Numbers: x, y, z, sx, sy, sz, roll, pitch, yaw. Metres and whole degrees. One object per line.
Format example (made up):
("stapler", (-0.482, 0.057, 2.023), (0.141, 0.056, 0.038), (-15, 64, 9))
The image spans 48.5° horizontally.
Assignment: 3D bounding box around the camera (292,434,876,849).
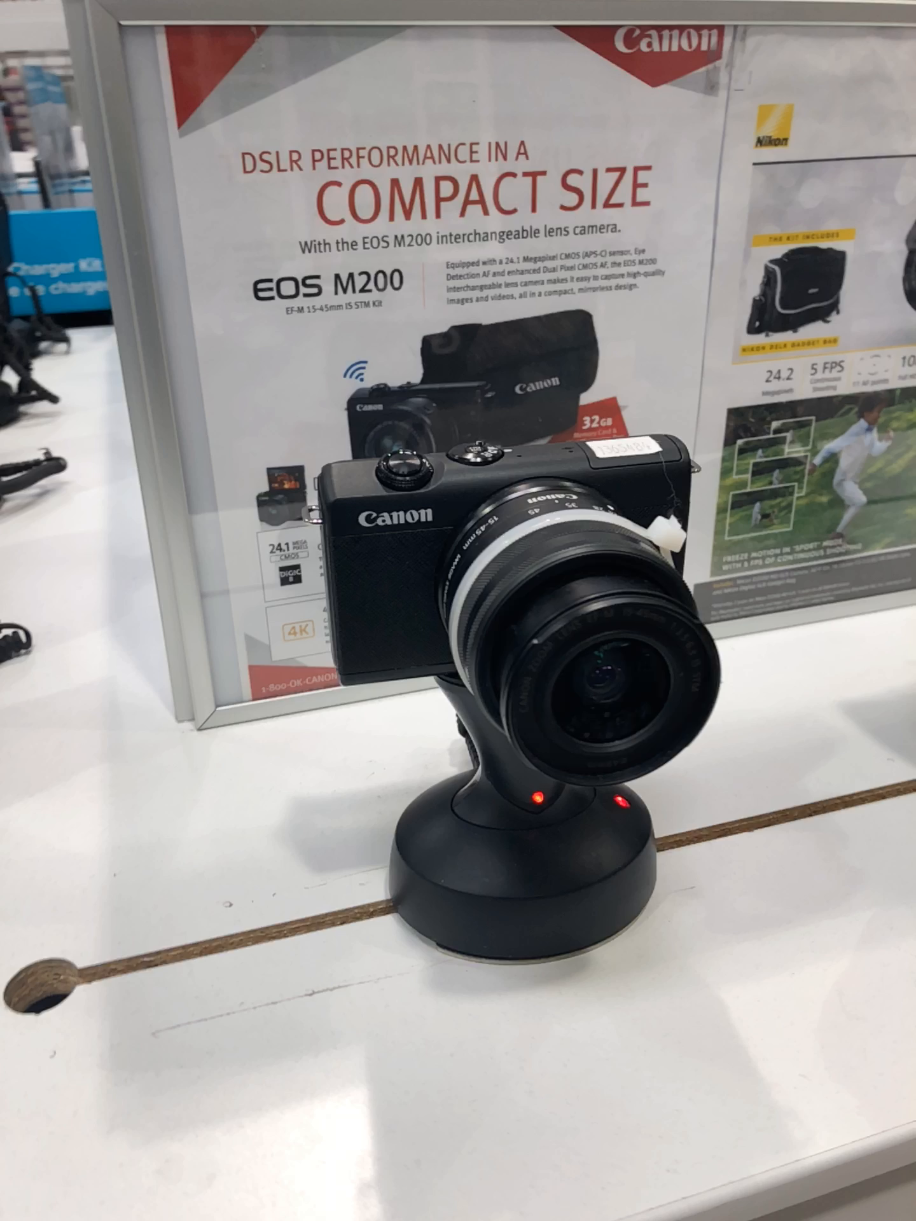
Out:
("camera", (0.022, -0.002, 0.281), (0.120, 0.050, 0.120), (-7, 27, -12))
